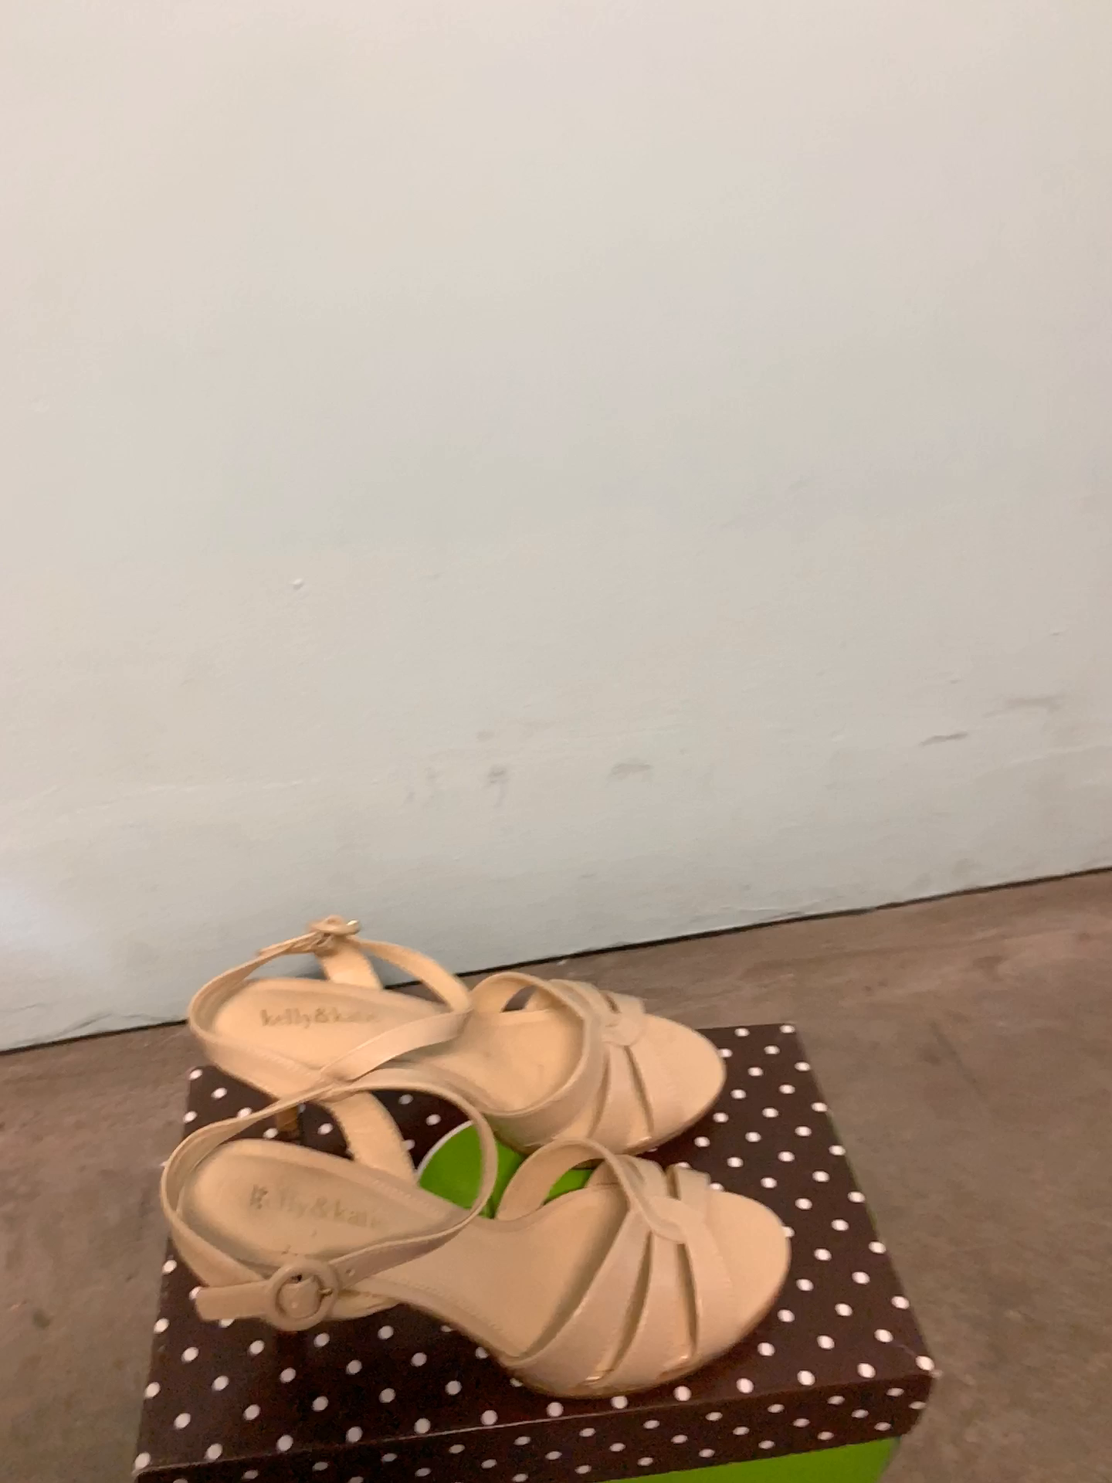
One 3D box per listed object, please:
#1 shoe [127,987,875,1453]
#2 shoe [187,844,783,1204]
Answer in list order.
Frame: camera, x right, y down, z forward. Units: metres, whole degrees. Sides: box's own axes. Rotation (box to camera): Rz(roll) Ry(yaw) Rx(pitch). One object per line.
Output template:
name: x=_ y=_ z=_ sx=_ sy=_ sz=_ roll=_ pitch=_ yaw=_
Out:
shoe: x=-0.022 y=0.176 z=0.439 sx=0.240 sy=0.109 sz=0.101 roll=-1 pitch=32 yaw=-8
shoe: x=-0.034 y=0.126 z=0.534 sx=0.240 sy=0.109 sz=0.101 roll=-1 pitch=32 yaw=-8
